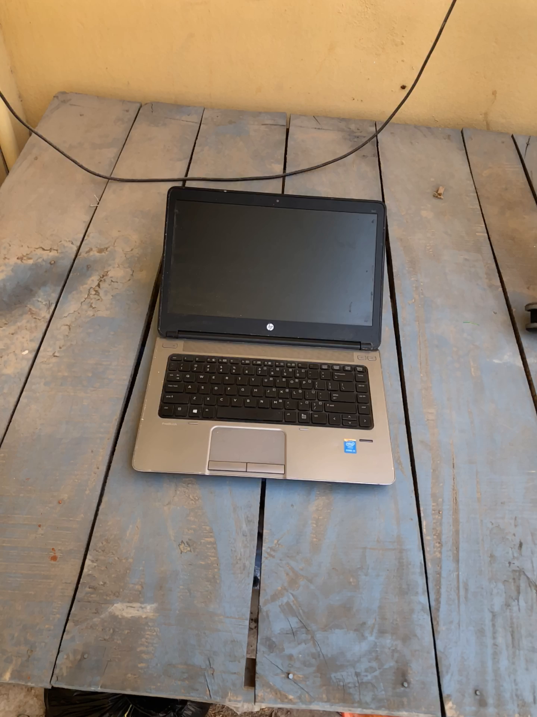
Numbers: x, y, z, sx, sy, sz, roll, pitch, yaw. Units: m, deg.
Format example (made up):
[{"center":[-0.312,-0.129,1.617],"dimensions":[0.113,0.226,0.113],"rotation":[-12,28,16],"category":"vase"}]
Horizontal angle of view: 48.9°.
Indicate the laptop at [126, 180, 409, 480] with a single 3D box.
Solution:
[{"center":[0.005,-0.056,0.803],"dimensions":[0.306,0.123,0.391],"rotation":[4,53,0],"category":"laptop"}]
